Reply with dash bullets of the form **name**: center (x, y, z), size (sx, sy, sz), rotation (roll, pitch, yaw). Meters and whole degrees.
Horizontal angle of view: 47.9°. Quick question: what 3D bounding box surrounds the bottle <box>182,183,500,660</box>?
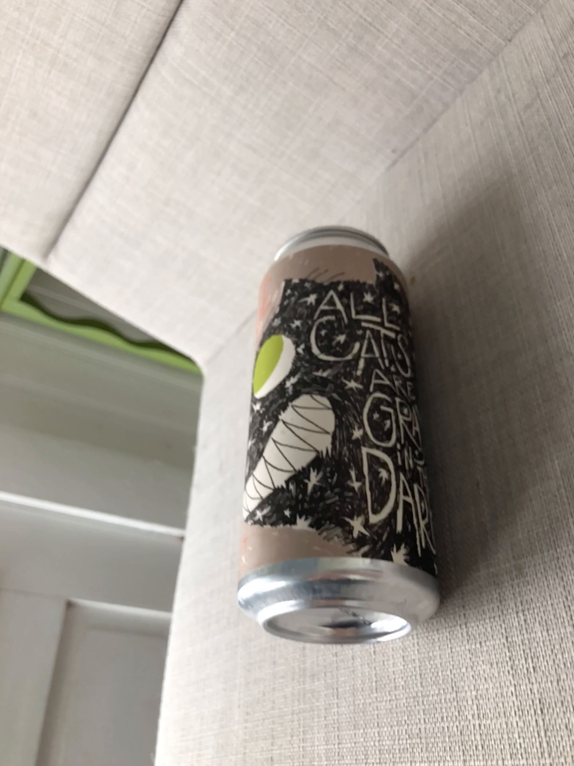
- **bottle**: center (0.013, 0.014, 0.242), size (0.070, 0.070, 0.151), rotation (-40, 41, 43)
